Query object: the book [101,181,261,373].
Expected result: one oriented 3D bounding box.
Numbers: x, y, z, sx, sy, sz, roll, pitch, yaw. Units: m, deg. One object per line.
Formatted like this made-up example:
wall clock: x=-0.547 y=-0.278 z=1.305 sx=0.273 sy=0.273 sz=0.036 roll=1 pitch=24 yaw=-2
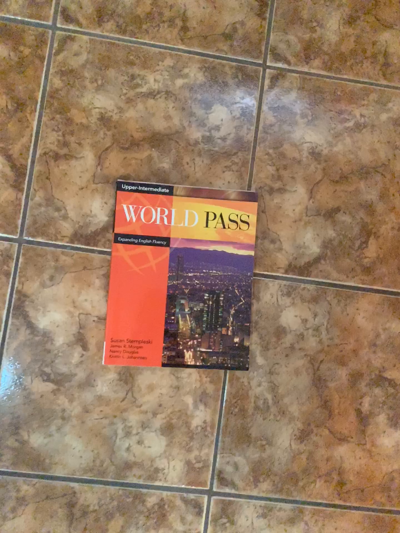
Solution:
book: x=-0.025 y=0.016 z=0.609 sx=0.219 sy=0.016 sz=0.271 roll=4 pitch=86 yaw=-4
